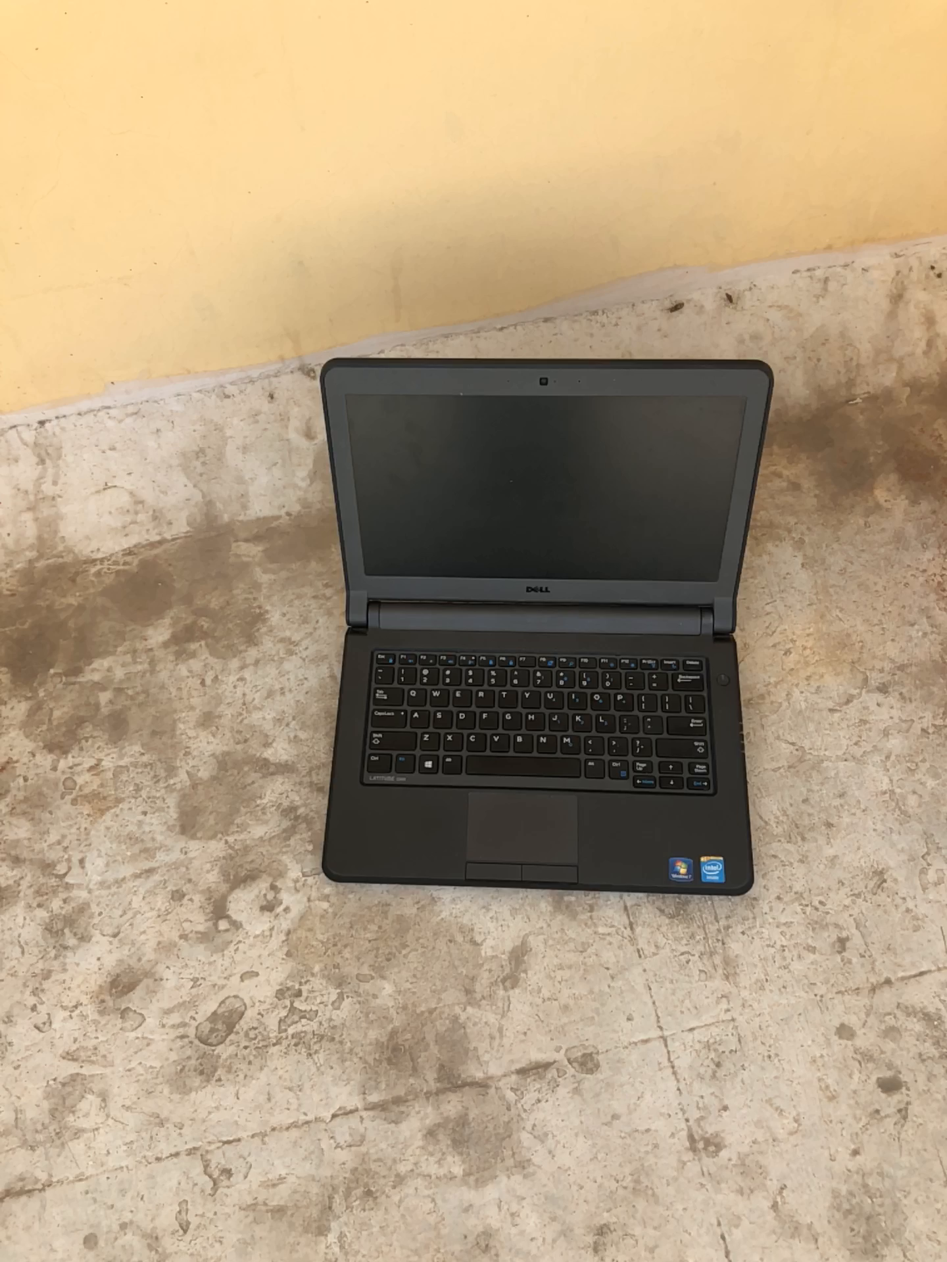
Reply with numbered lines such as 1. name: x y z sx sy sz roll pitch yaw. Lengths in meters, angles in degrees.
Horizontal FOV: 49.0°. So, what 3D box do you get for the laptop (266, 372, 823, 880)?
1. laptop: 0.049 0.001 0.742 0.308 0.209 0.300 1 61 4
